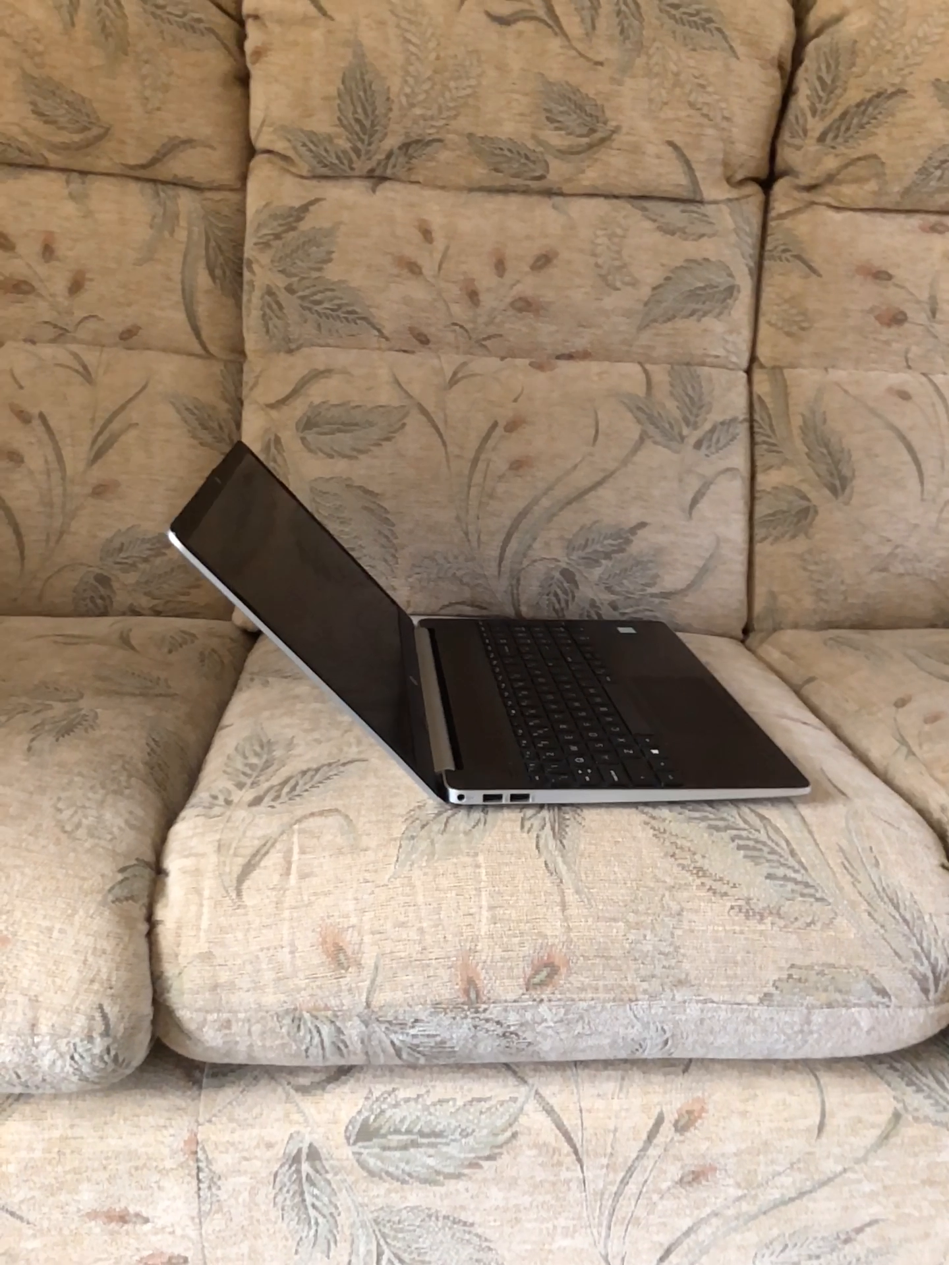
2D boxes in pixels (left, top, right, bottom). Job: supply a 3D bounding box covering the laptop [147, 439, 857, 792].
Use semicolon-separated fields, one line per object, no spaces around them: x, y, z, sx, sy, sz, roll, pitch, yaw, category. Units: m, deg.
0.006;-0.031;0.773;0.397;0.163;0.340;0;20;-7;laptop
